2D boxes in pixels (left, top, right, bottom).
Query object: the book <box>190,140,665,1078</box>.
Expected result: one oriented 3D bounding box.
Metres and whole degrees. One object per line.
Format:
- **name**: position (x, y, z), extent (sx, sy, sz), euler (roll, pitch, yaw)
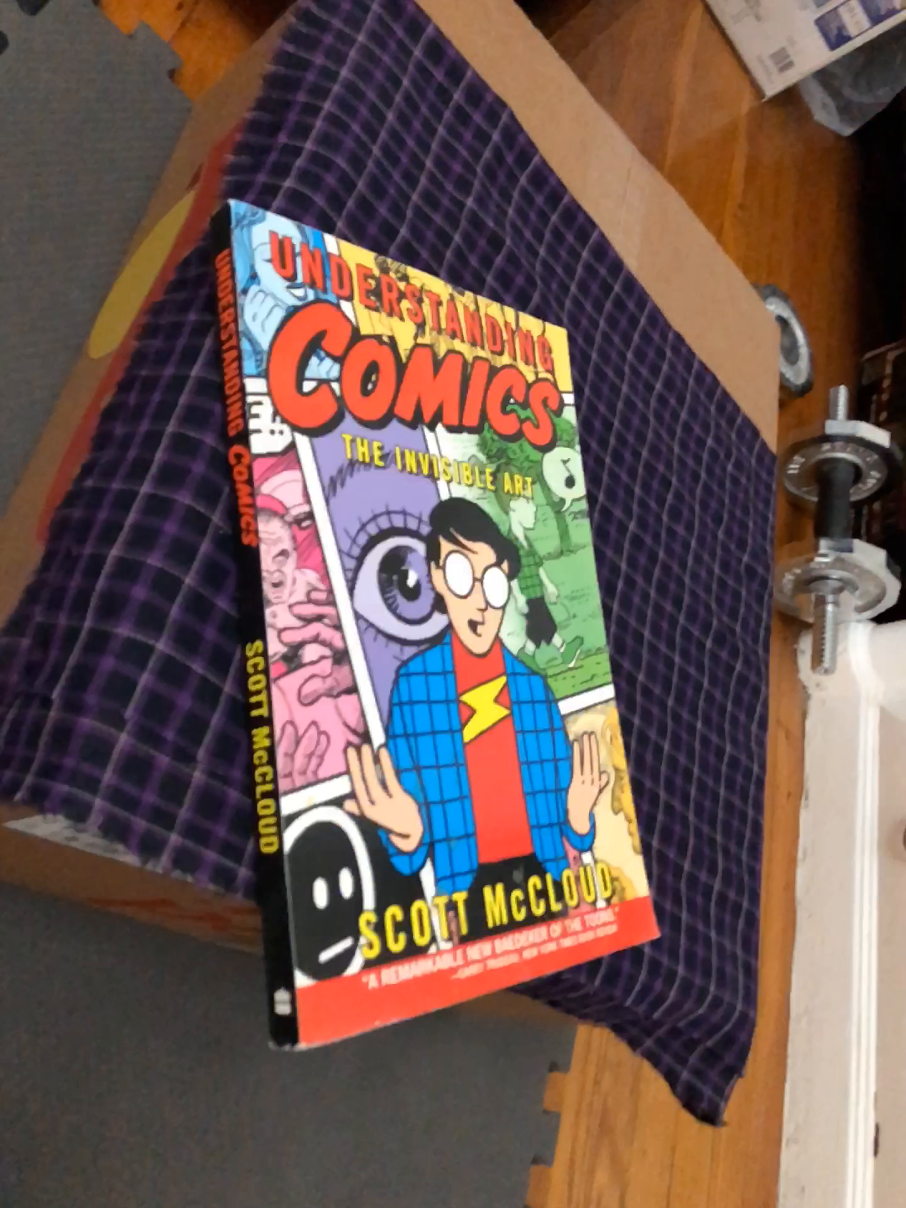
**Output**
- **book**: position (-0.002, -0.004, 0.347), extent (0.171, 0.020, 0.270), euler (5, 74, -46)
